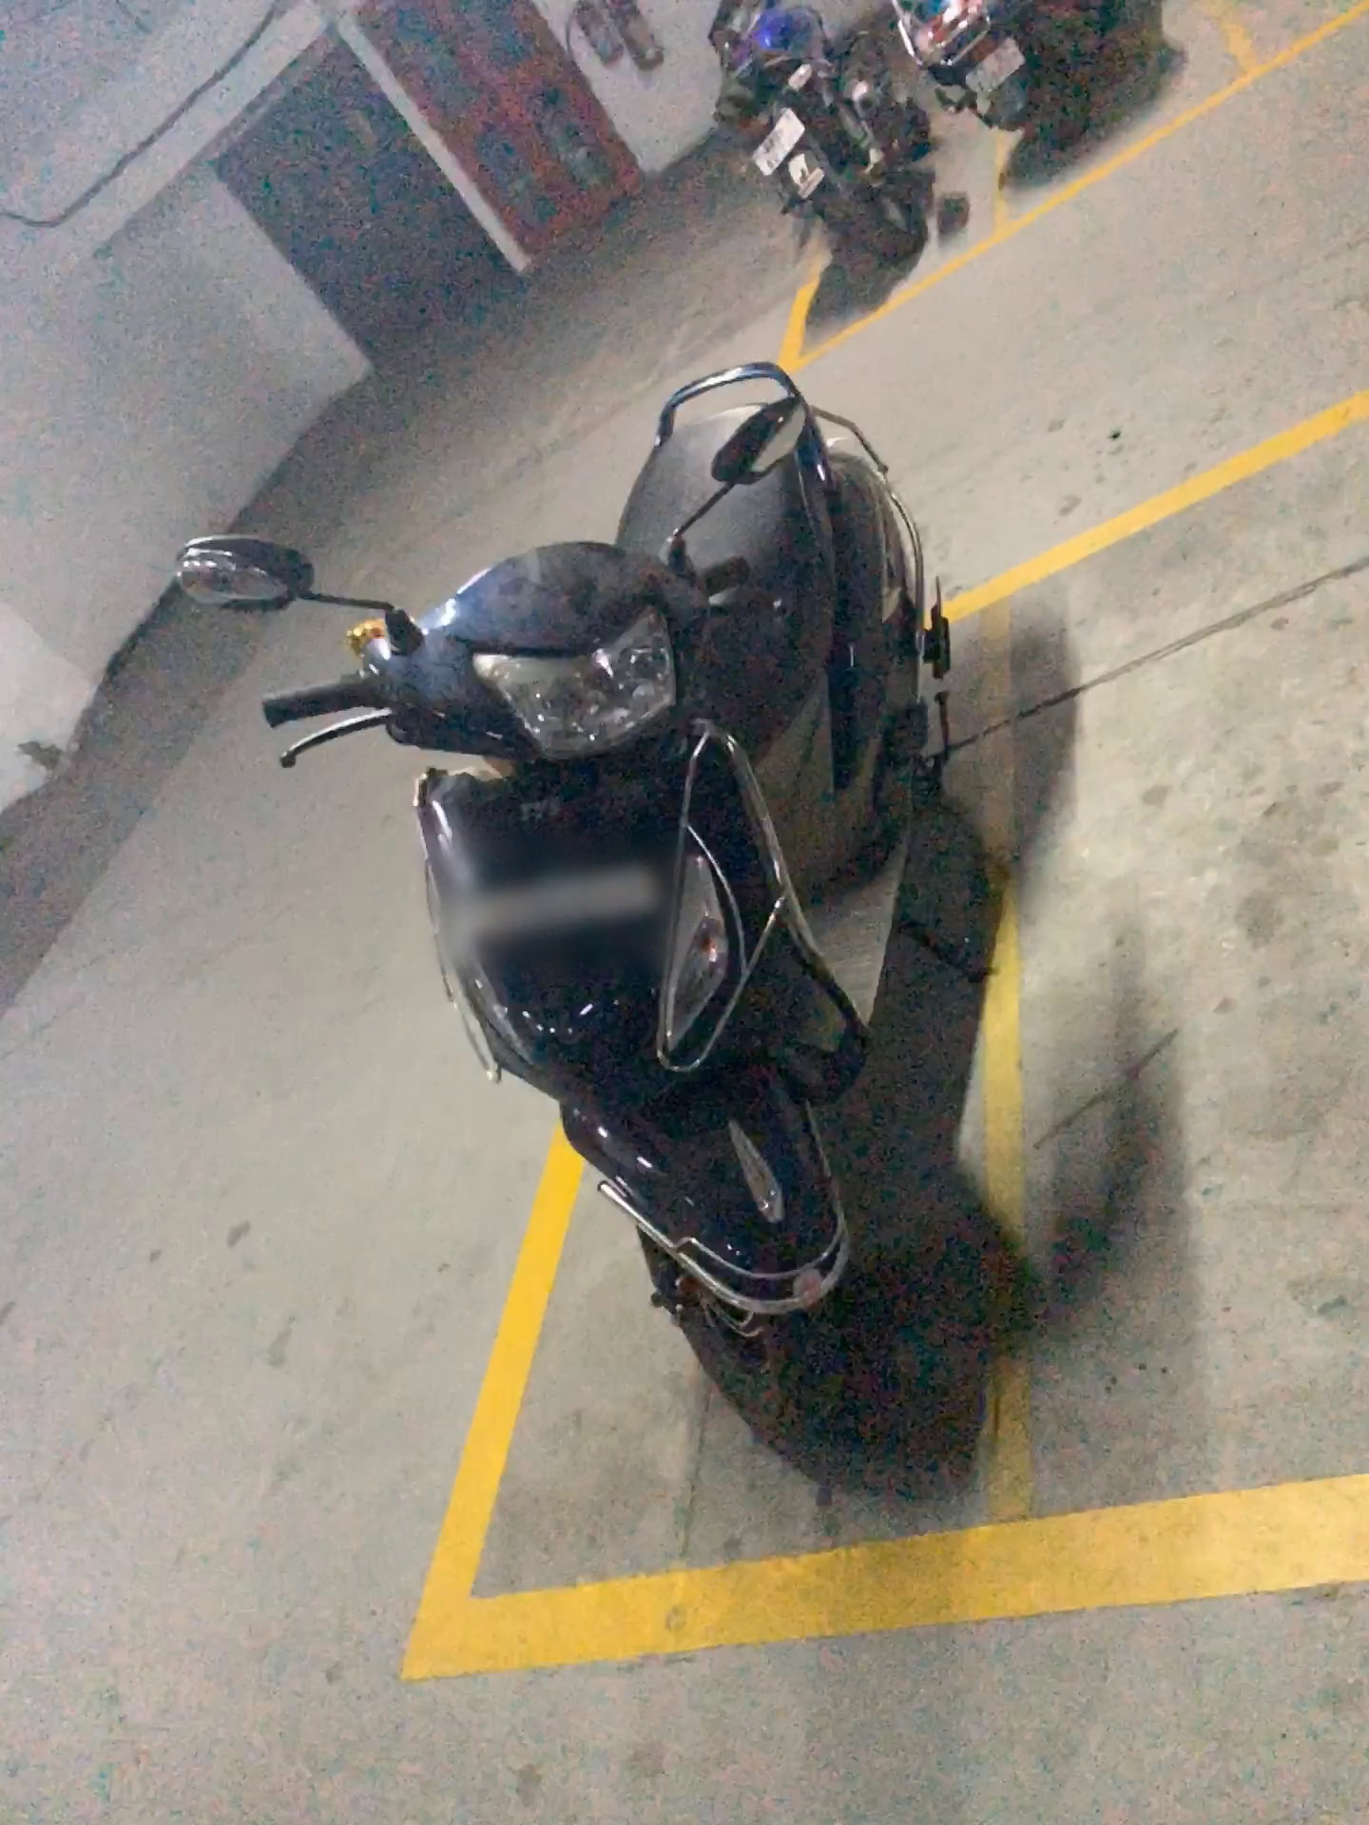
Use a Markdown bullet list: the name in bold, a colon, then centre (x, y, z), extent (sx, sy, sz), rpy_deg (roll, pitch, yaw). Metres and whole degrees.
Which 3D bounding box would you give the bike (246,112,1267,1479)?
- **bike**: centre (0.153, -0.283, 2.147), extent (0.666, 1.027, 1.699), rpy_deg (-26, 36, 26)
